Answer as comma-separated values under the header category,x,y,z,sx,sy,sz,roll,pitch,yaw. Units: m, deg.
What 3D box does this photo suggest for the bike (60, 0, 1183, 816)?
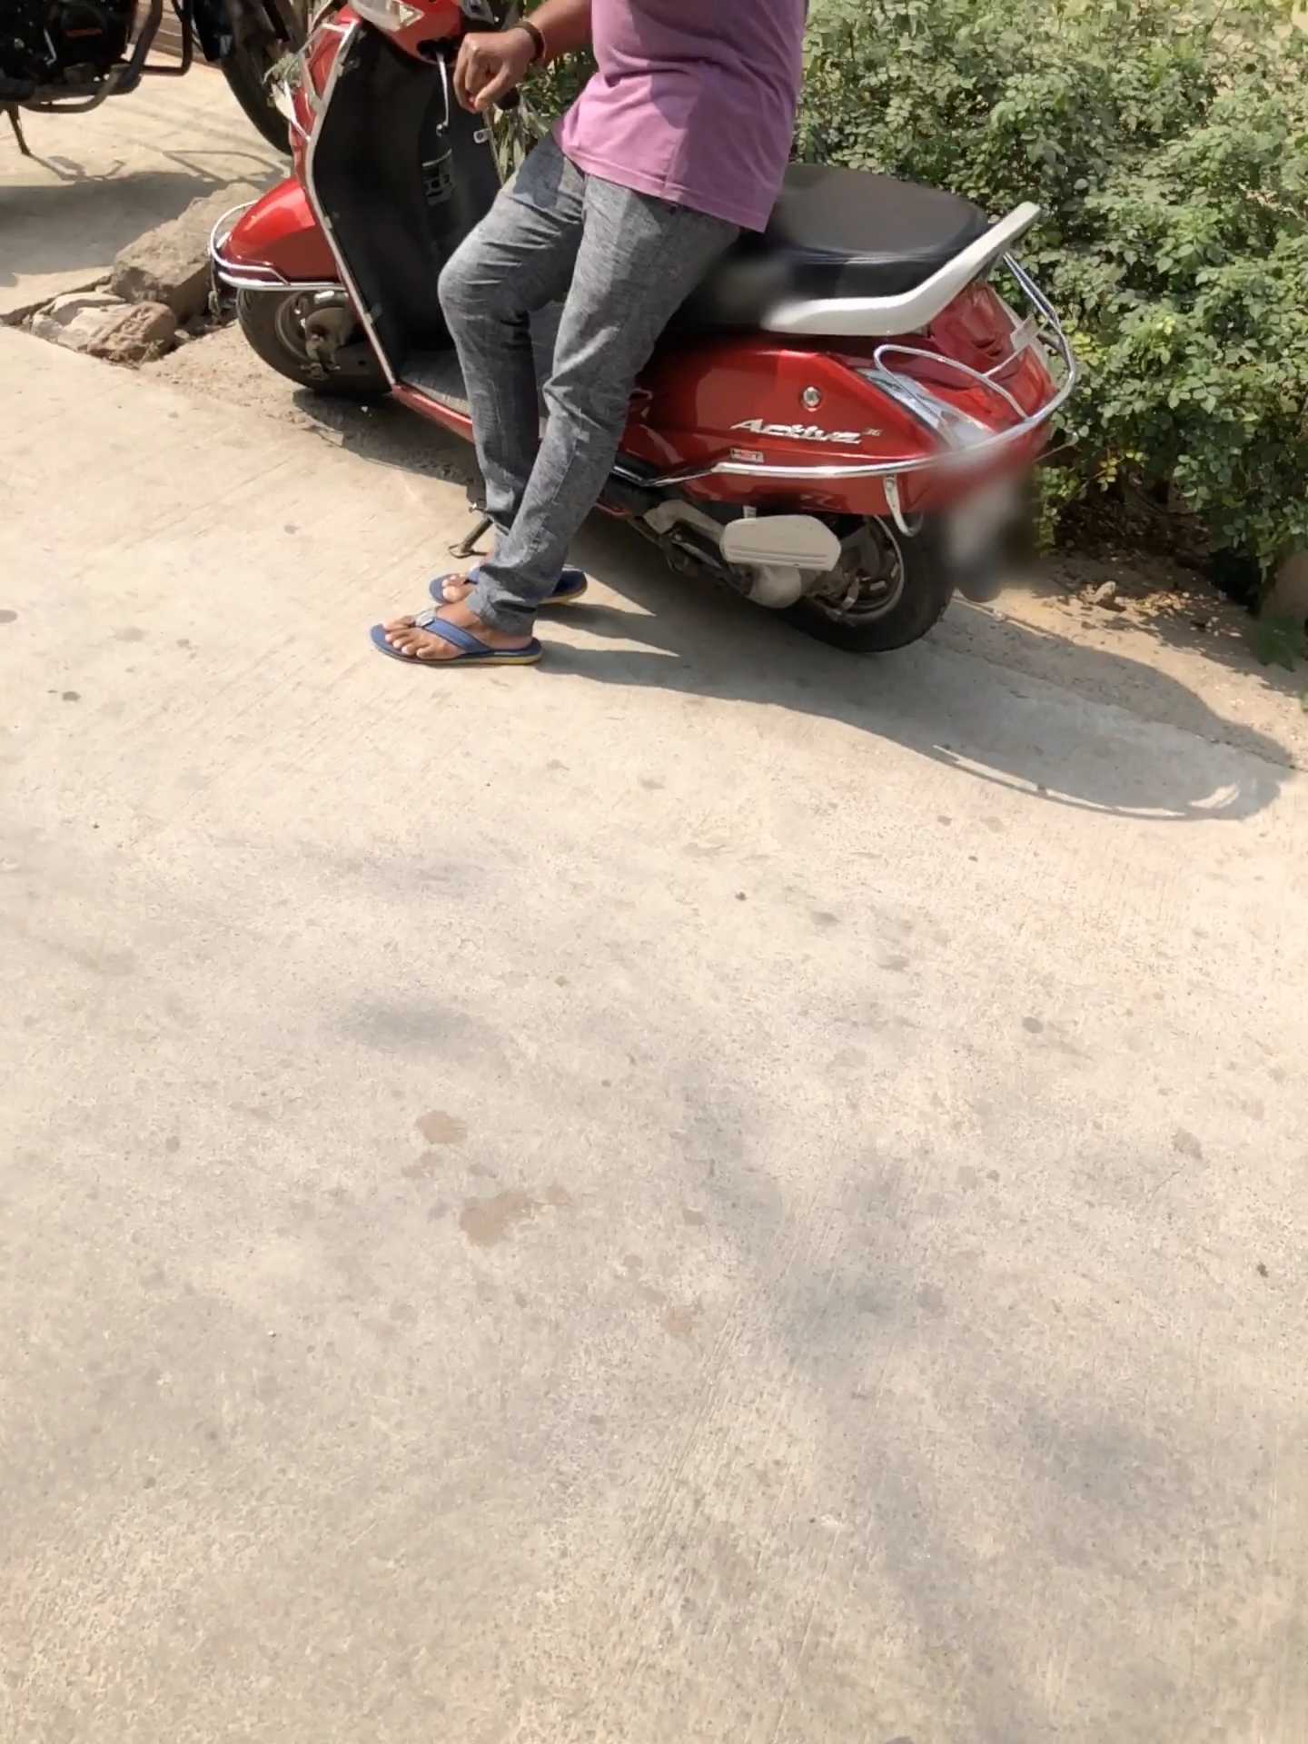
category,x,y,z,sx,sy,sz,roll,pitch,yaw
bike,-0.158,-1.024,2.422,1.582,1.156,0.626,27,40,21
